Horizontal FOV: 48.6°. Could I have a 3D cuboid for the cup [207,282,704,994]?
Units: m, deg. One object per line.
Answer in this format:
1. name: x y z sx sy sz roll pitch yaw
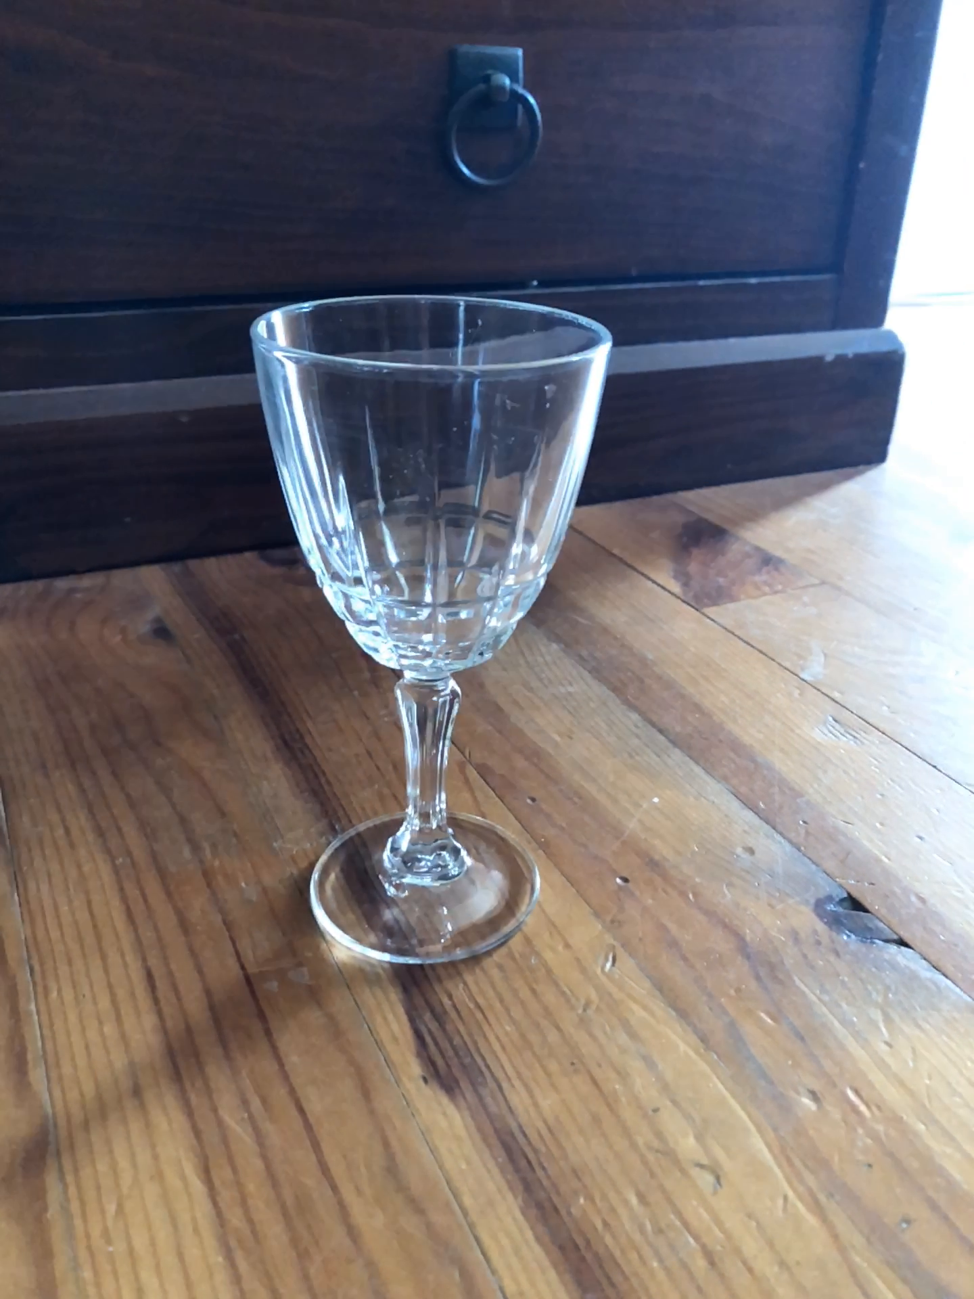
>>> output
1. cup: -0.015 -0.009 0.261 0.085 0.141 0.084 3 26 -1
